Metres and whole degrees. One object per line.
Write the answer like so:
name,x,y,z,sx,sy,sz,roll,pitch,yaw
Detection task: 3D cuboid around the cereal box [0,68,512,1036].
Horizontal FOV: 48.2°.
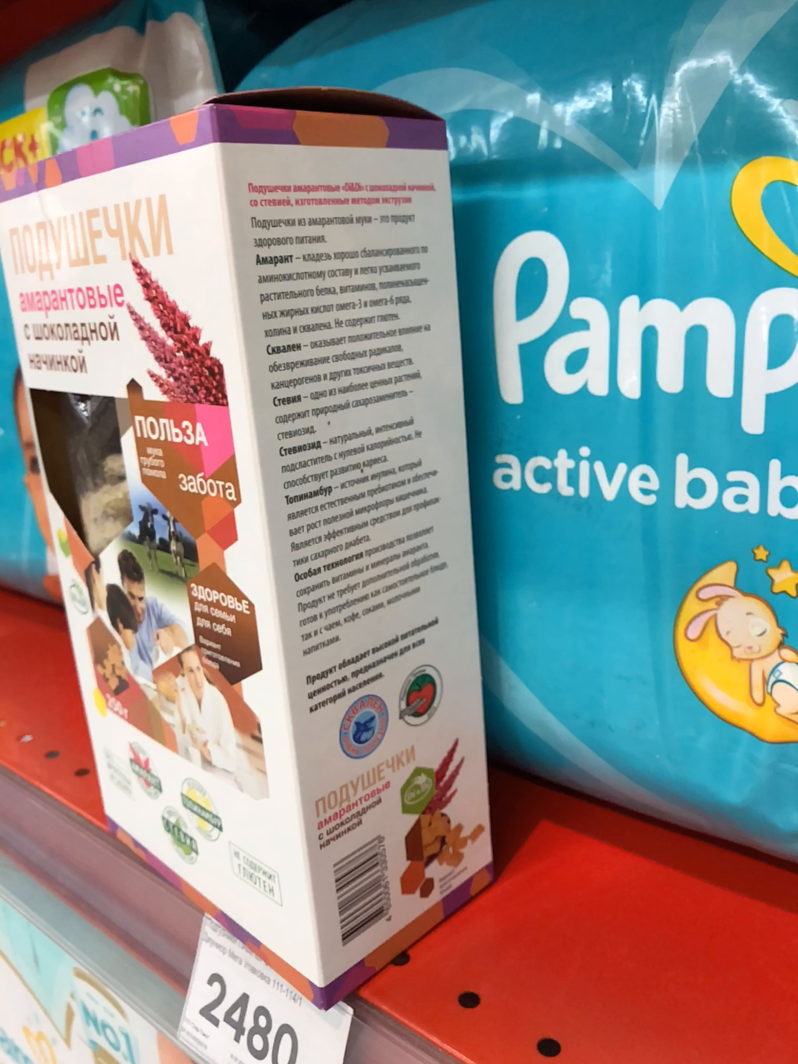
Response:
cereal box,-0.048,0.001,0.265,0.070,0.219,0.140,-19,21,-40
